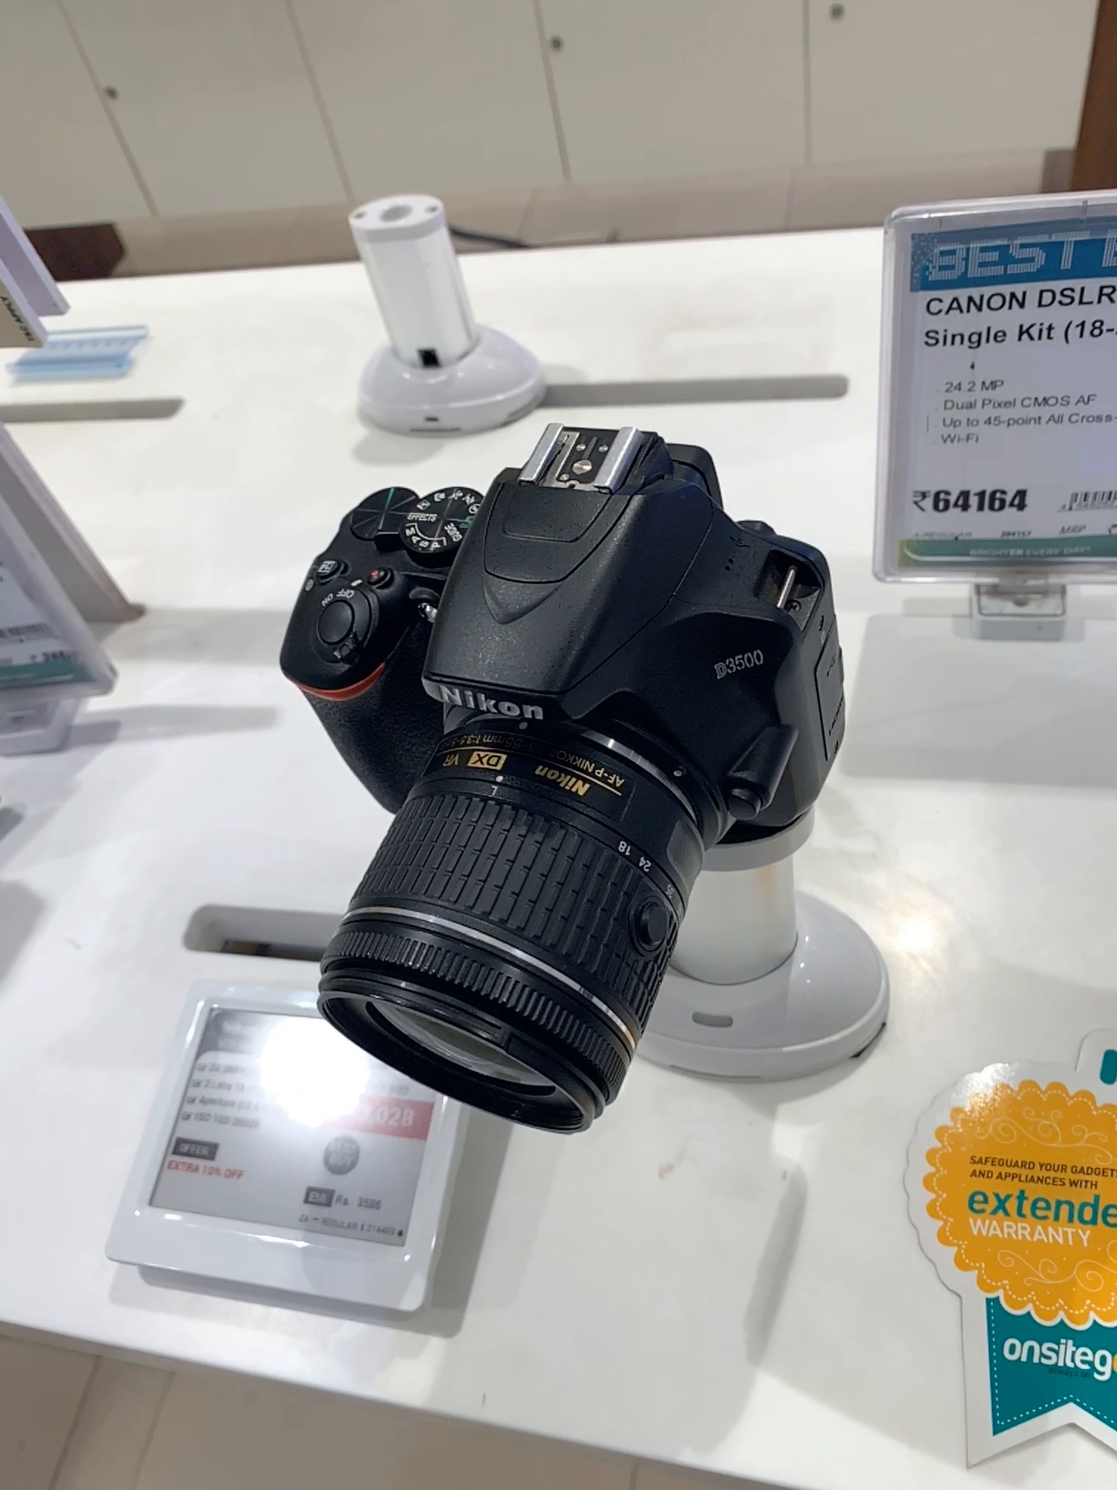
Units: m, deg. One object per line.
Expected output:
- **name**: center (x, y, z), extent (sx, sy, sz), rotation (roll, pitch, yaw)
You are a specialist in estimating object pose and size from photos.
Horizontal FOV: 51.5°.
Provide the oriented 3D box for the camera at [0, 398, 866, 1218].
- **camera**: center (-0.010, 0.008, 0.220), extent (0.110, 0.090, 0.103), rotation (11, 56, 21)
